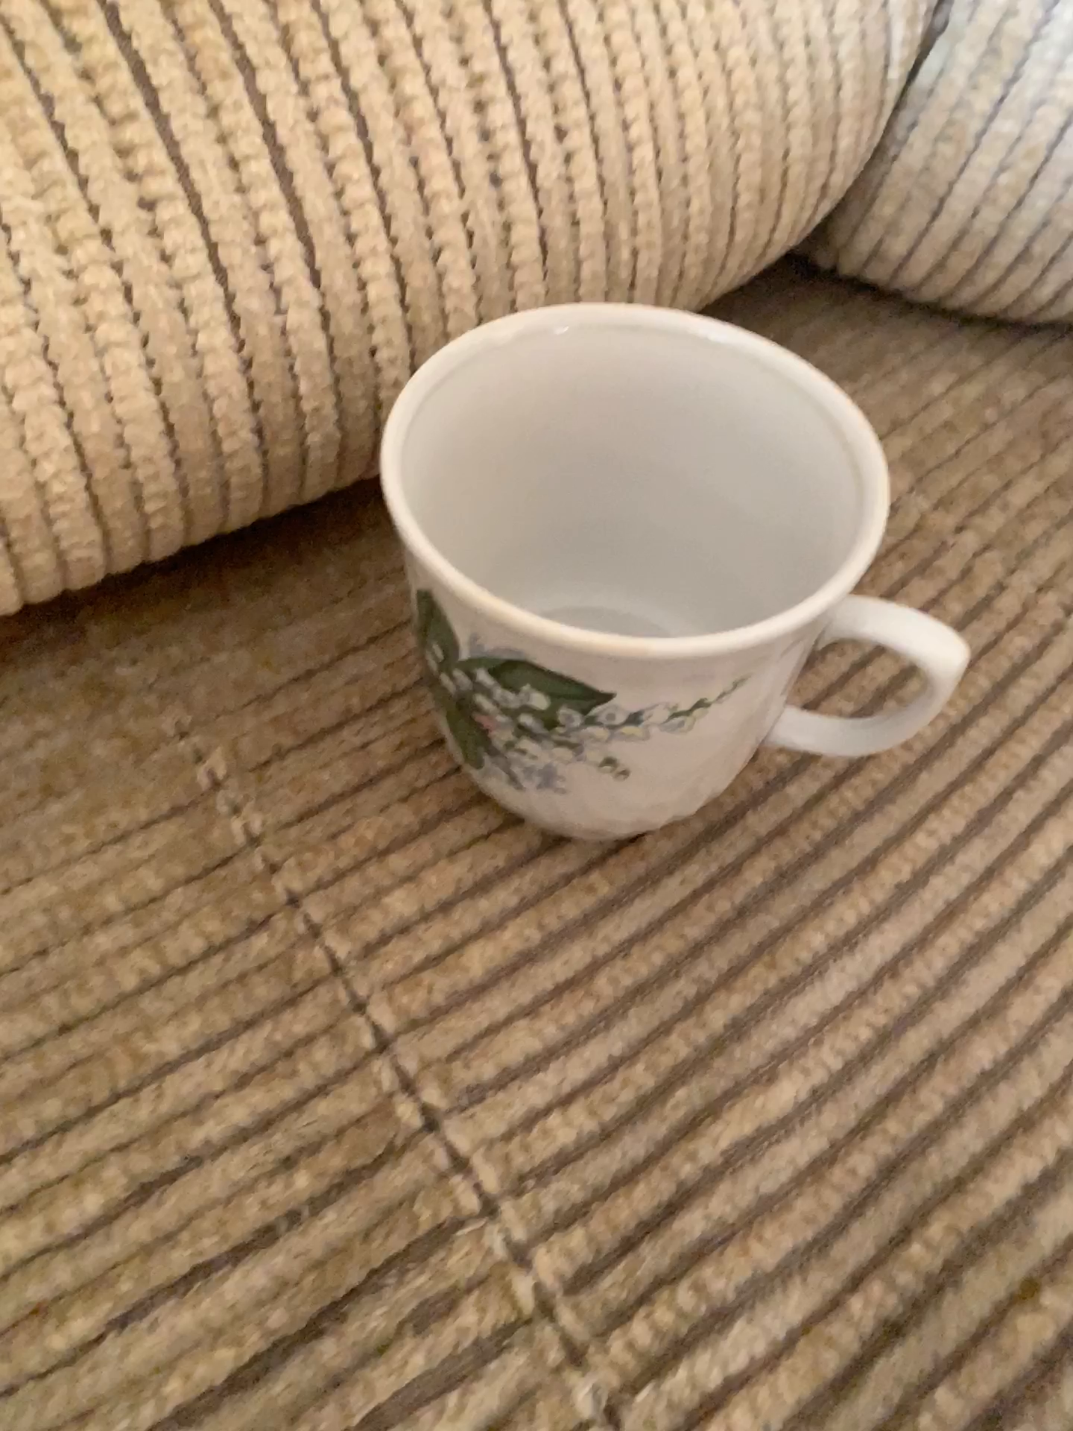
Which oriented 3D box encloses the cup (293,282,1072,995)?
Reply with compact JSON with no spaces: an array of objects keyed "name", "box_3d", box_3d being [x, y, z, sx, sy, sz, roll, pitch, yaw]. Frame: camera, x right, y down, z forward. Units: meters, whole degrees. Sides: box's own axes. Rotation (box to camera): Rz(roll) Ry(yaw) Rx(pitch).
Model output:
[{"name":"cup","box_3d":[0.031,-0.019,0.217,0.112,0.077,0.096,10,51,11]}]
